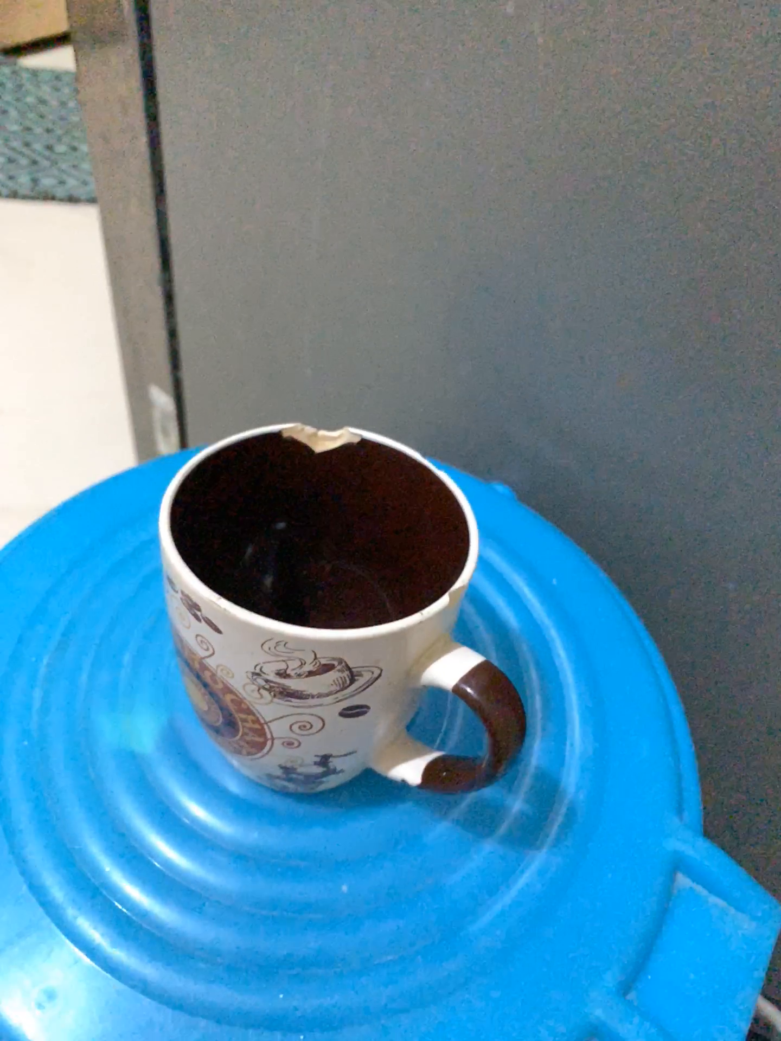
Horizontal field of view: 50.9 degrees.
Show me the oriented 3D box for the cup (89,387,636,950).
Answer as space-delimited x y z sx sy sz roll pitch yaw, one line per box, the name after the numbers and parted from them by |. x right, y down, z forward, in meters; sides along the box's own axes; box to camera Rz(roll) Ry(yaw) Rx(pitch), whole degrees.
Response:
-0.011 0.035 0.221 0.109 0.082 0.071 30 46 20 | cup
